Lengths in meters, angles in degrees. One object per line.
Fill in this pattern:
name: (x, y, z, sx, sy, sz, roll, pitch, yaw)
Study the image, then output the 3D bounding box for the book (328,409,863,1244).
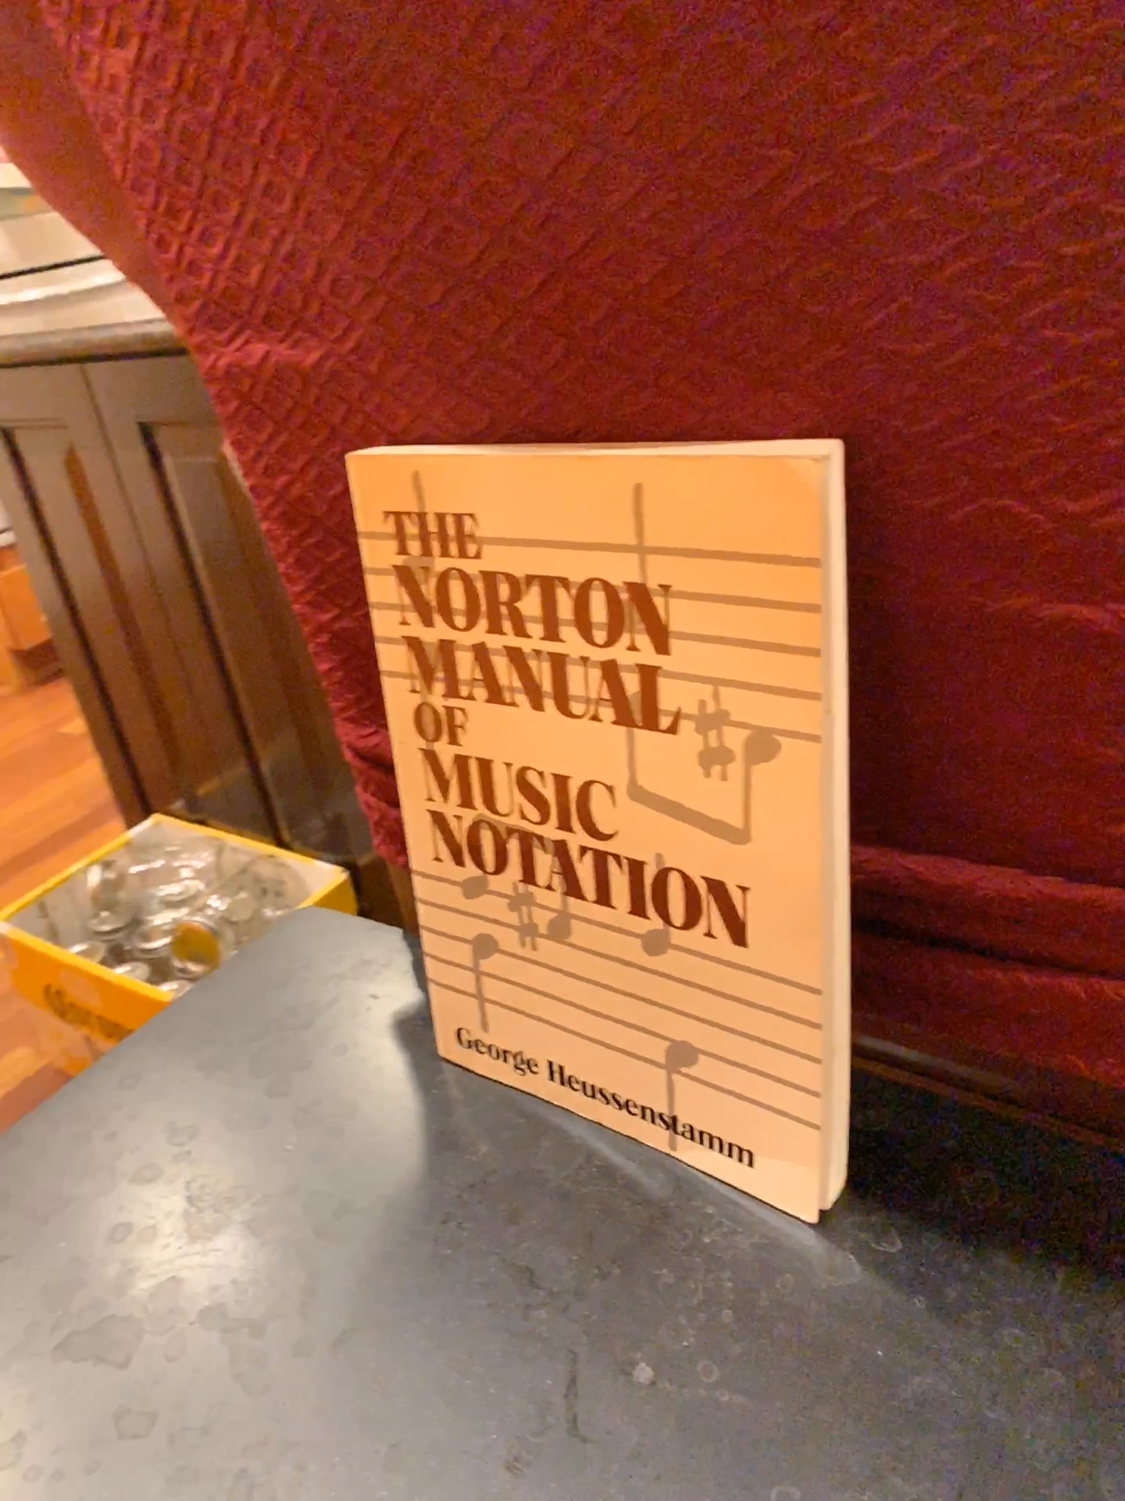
book: (0.012, 0.021, 0.397, 0.181, 0.259, 0.030, 11, 27, 37)
